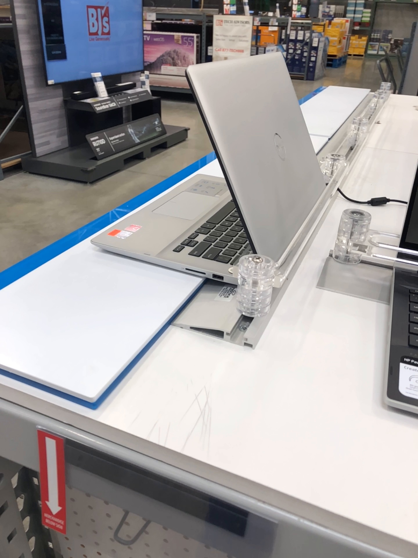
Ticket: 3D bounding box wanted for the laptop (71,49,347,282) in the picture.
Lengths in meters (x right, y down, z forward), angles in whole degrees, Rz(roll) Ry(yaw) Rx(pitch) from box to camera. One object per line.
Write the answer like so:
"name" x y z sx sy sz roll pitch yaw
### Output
"laptop" 0.024 -0.178 0.599 0.222 0.198 0.320 14 31 20
